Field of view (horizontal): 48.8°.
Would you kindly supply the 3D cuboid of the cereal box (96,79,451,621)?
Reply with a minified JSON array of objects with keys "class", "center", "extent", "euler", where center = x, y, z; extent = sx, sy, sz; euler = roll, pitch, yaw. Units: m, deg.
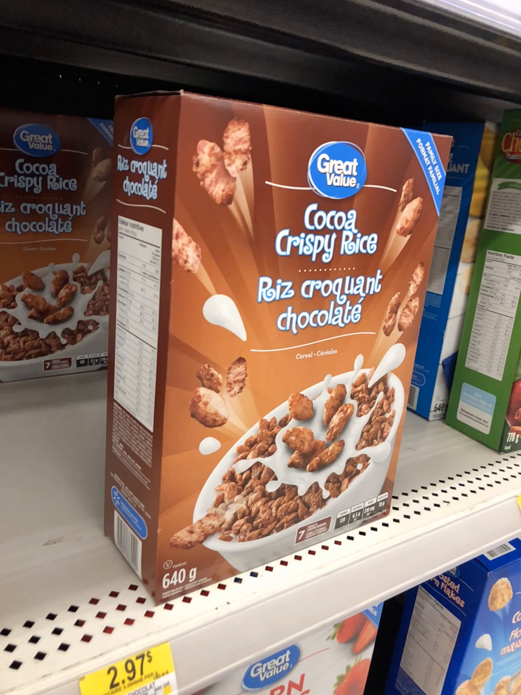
[{"class":"cereal box","center":[0.005,-0.002,0.392],"extent":[0.210,0.298,0.080],"euler":[-7,21,-35]}]
